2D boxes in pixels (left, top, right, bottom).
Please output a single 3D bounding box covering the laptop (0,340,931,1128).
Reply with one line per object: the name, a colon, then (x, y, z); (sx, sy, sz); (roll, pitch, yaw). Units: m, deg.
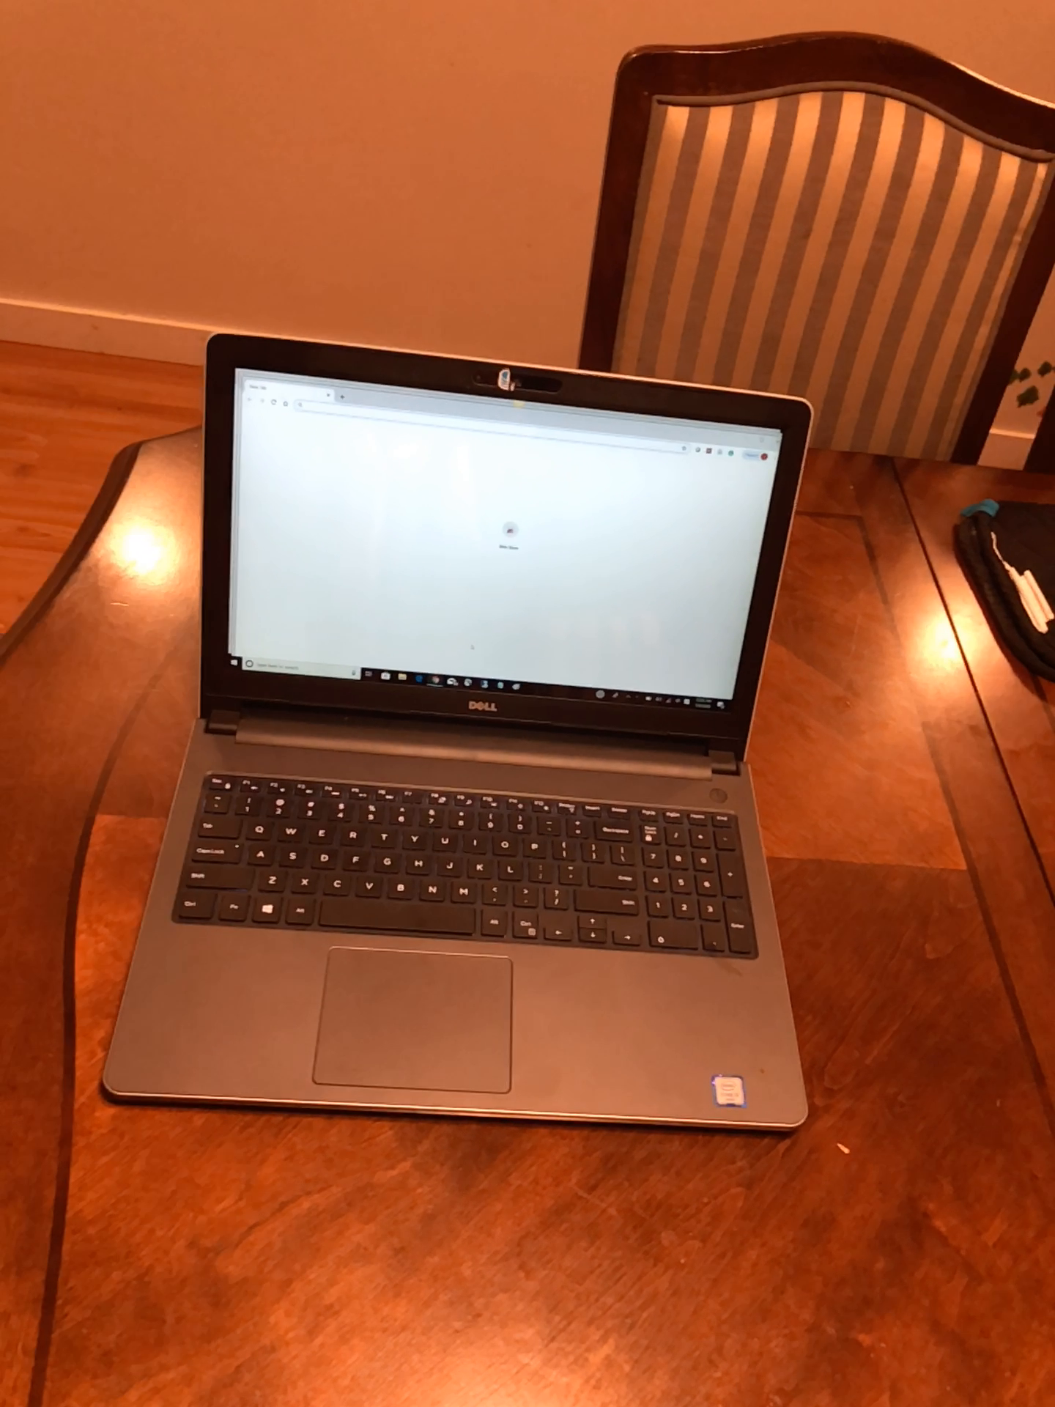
laptop: (-0.033, 0.008, 0.650); (0.369, 0.212, 0.362); (5, 47, -5)
